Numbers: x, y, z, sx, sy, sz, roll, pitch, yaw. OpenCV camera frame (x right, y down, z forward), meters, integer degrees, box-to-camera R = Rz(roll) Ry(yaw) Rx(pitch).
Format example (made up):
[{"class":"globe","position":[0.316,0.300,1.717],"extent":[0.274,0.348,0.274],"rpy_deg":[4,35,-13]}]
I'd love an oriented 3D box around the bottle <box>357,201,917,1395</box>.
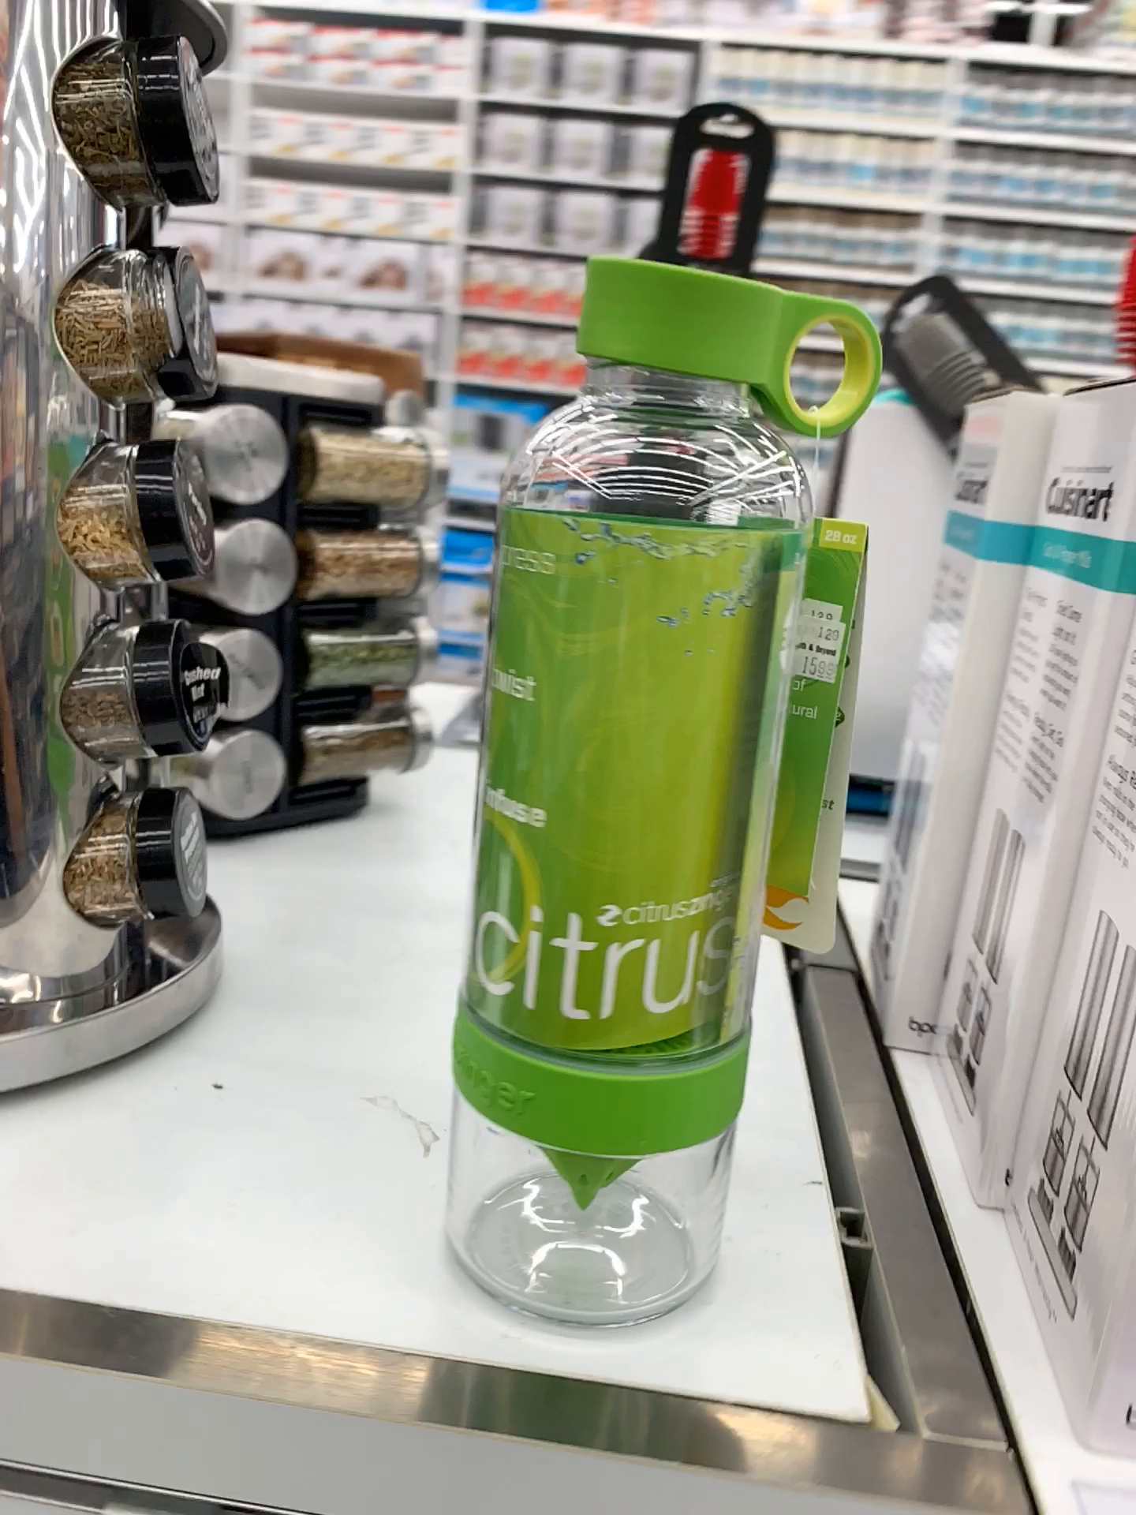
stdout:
[{"class":"bottle","position":[0.012,0.009,0.293],"extent":[0.078,0.250,0.081],"rpy_deg":[6,13,-1]}]
